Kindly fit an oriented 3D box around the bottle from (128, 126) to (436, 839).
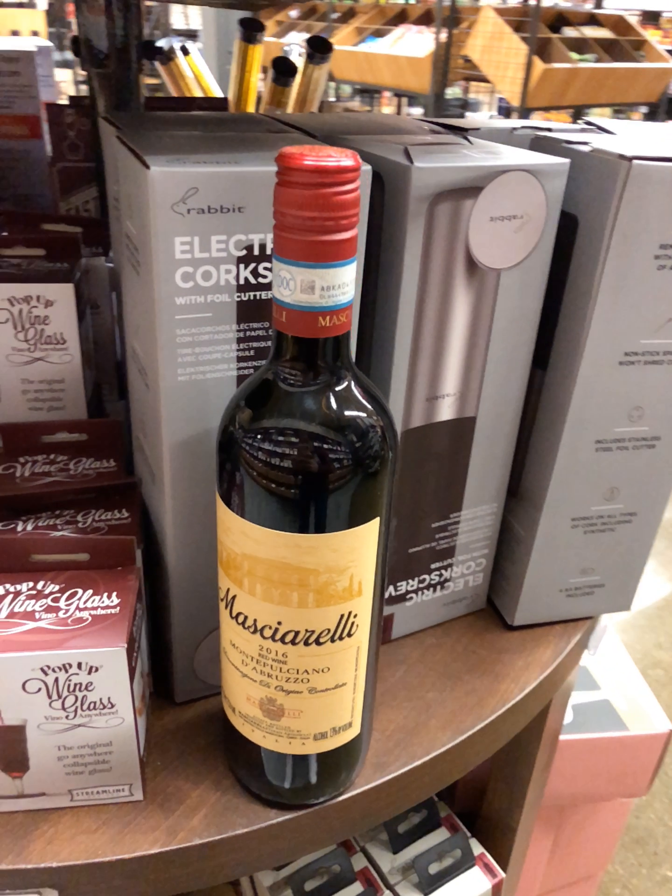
[{"bbox_3d":[-0.018,0.027,0.306,0.072,0.283,0.075,2,29,-1],"label":"bottle"}]
